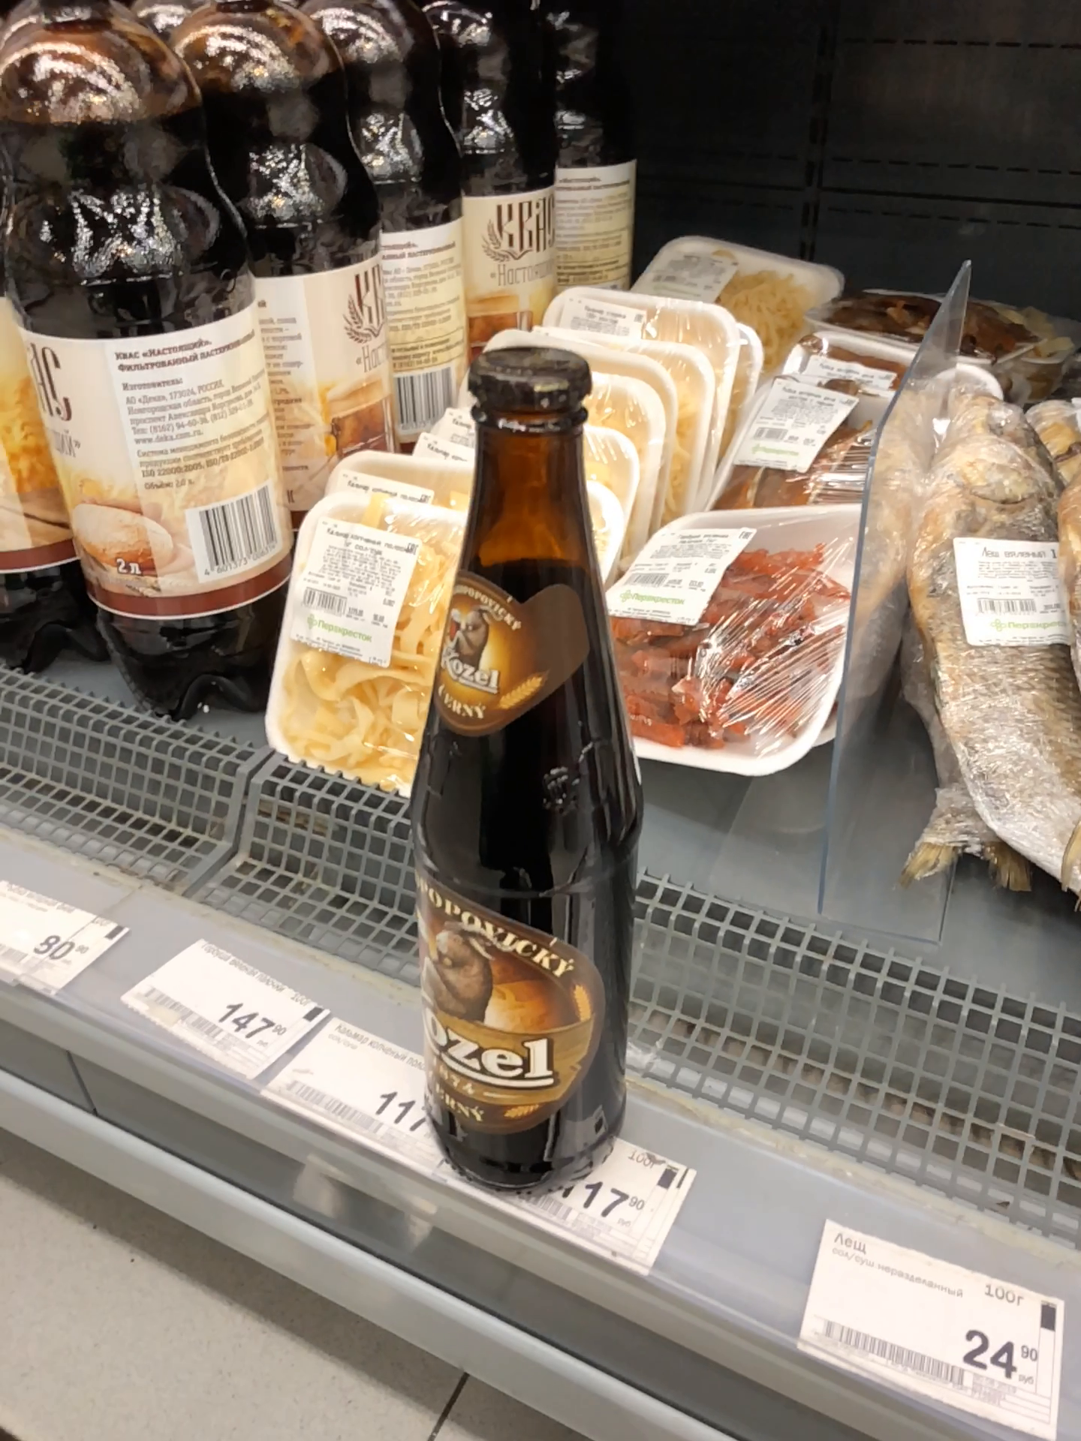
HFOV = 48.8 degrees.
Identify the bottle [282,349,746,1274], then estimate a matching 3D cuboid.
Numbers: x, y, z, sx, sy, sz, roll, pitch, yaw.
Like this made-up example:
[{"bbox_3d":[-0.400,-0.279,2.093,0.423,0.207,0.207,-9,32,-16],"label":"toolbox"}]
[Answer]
[{"bbox_3d":[-0.006,0.032,0.316,0.070,0.231,0.070,0,33,0],"label":"bottle"}]
